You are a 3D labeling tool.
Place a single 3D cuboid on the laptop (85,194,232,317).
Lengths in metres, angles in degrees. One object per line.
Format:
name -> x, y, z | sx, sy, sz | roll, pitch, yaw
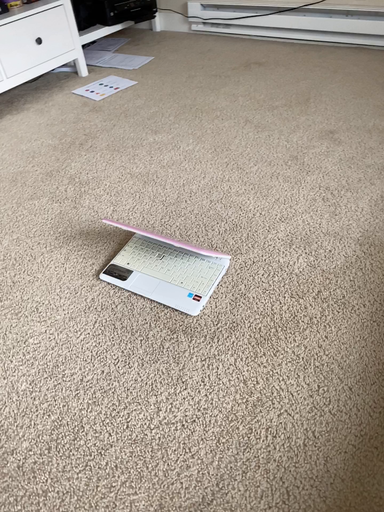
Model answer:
laptop -> -0.076, -0.014, 0.965 | 0.297, 0.122, 0.198 | 18, 51, 25
